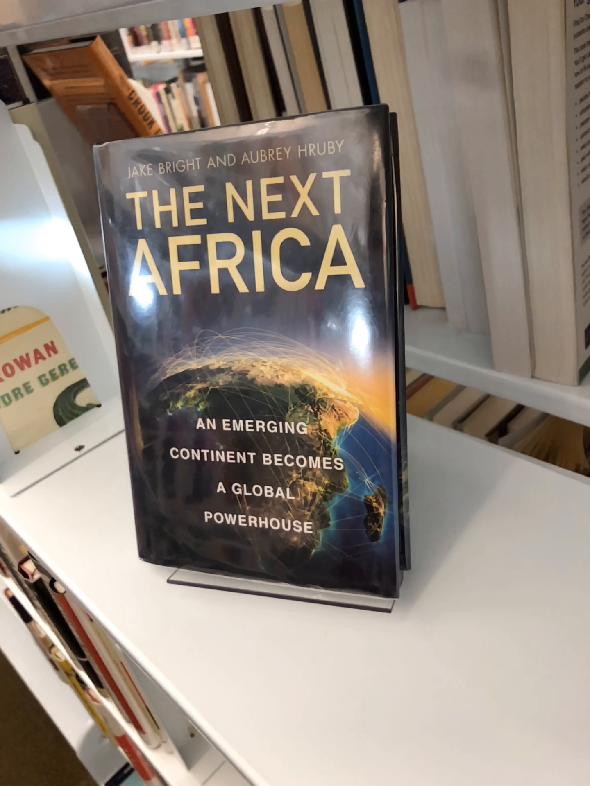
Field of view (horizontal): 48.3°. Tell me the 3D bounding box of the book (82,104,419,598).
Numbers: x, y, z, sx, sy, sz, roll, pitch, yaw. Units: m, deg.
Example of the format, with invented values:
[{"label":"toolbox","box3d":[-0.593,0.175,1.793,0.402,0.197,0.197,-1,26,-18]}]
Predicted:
[{"label":"book","box3d":[-0.021,-0.015,0.321,0.153,0.211,0.030,1,12,22]}]
